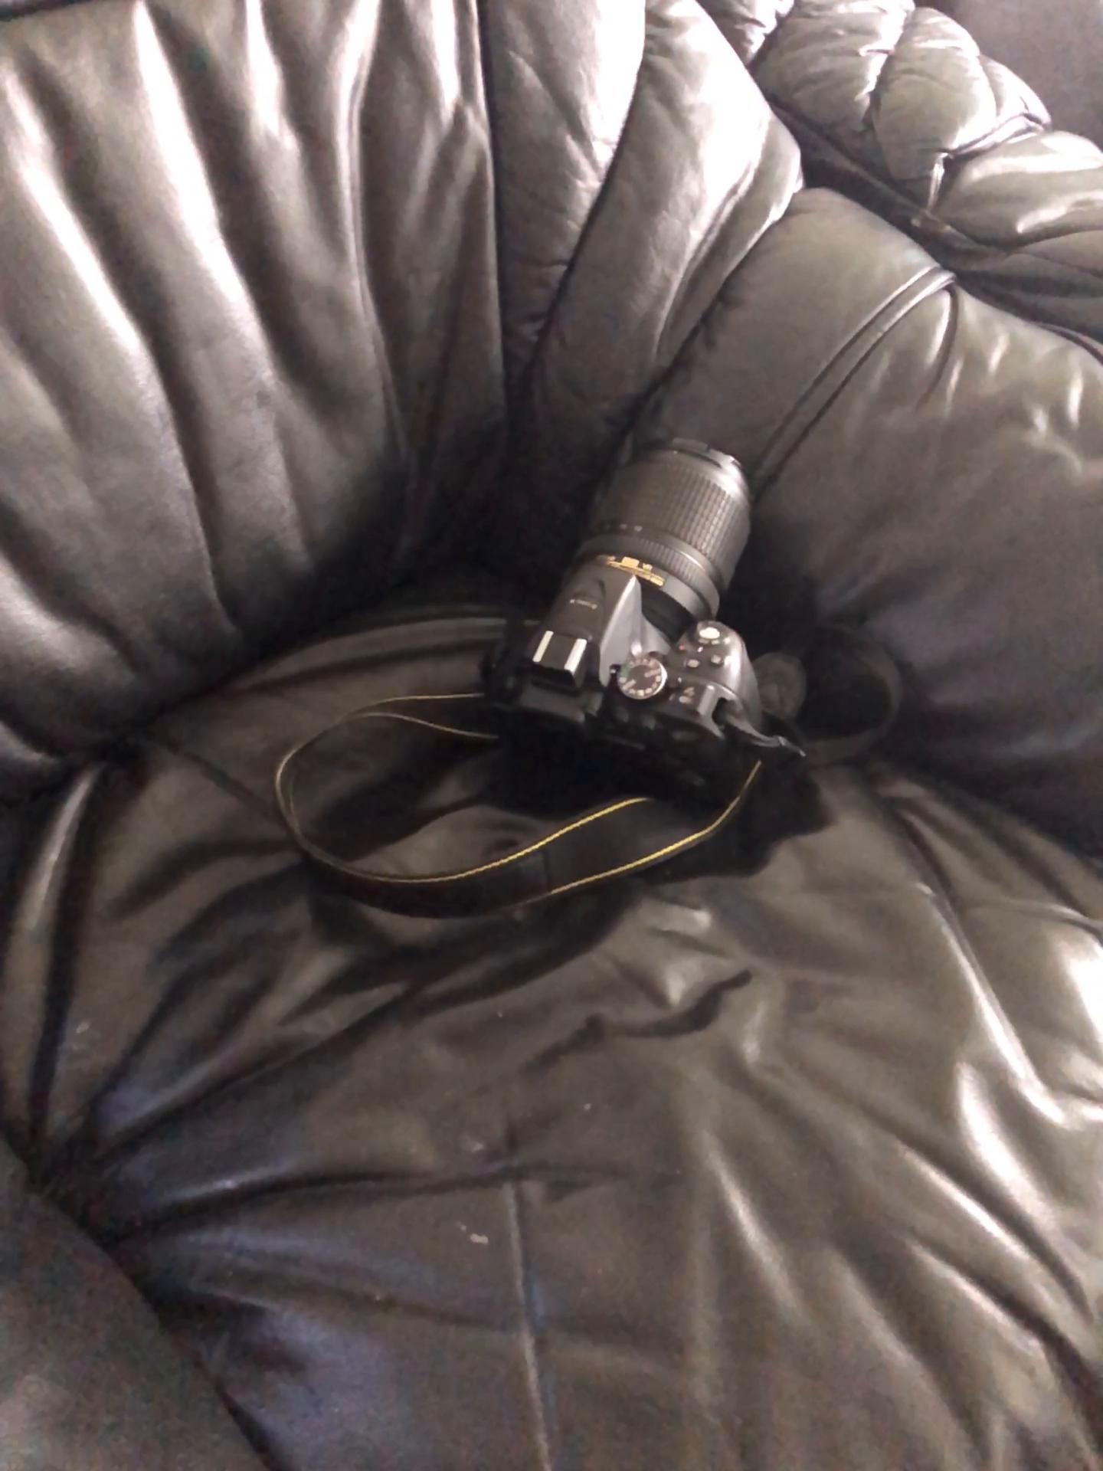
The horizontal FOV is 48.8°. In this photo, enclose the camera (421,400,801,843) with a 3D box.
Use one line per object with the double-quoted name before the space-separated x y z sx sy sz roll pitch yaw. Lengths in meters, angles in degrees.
"camera" 0.041 -0.062 0.663 0.140 0.130 0.170 16 65 16
